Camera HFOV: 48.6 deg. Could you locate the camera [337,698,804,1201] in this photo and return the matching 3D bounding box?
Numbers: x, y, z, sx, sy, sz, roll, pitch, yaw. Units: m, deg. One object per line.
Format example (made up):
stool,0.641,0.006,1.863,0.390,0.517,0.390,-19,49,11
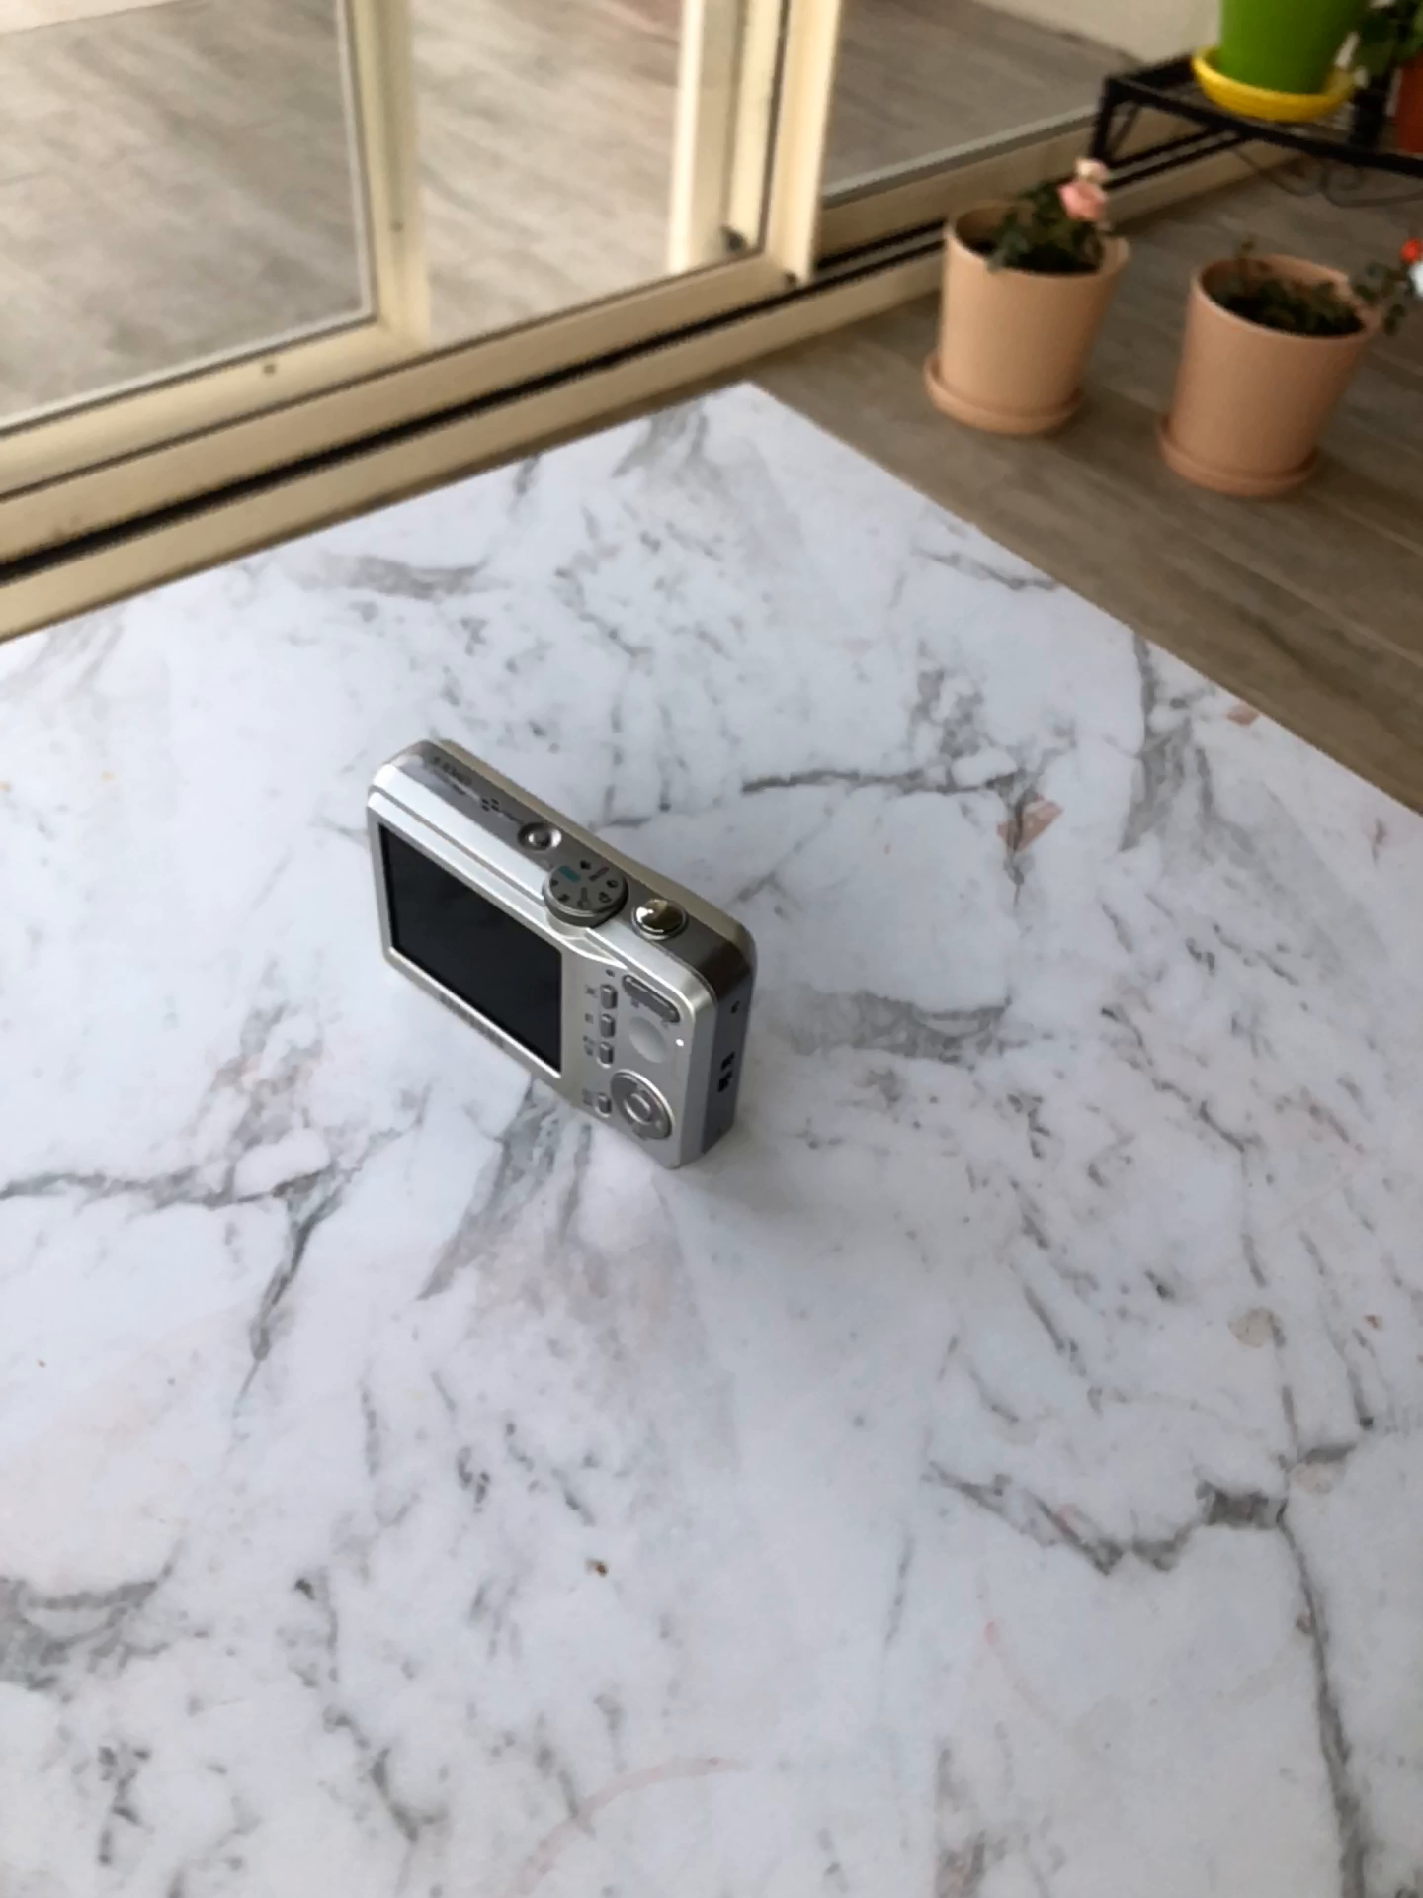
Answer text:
camera,-0.033,-0.001,0.346,0.099,0.061,0.034,34,53,23
